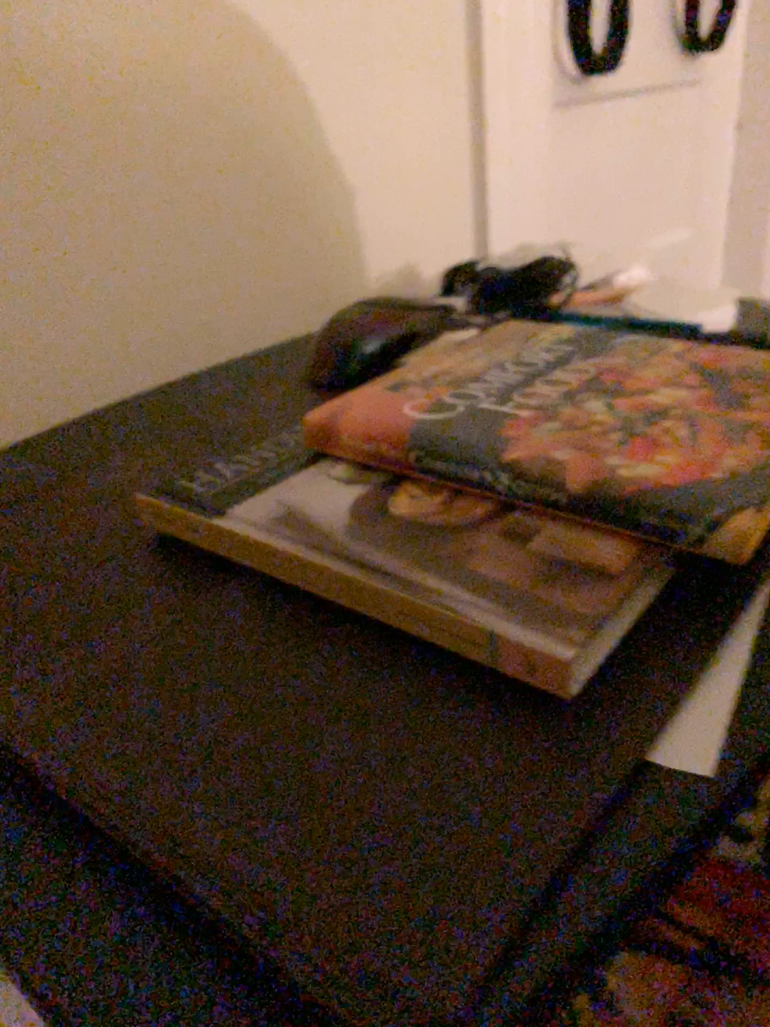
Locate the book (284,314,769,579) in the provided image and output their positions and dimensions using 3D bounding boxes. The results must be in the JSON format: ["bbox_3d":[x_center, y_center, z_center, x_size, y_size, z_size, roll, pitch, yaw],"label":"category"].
[{"bbox_3d":[0.097,-0.053,0.392,0.211,0.020,0.200,16,34,35],"label":"book"}]

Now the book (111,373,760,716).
[{"bbox_3d":[0.022,-0.012,0.360,0.221,0.020,0.180,17,34,35],"label":"book"}]
